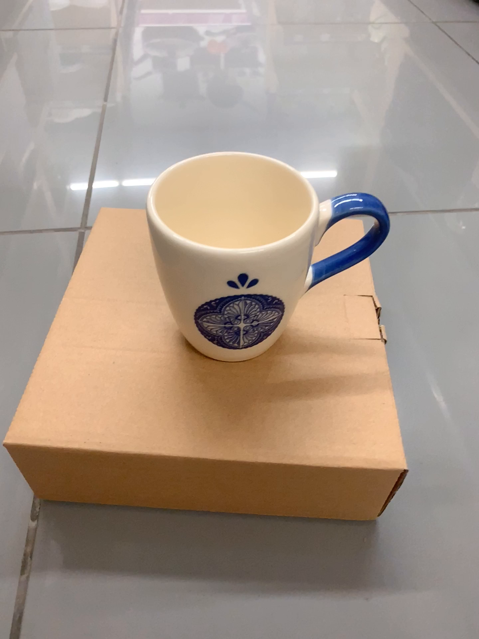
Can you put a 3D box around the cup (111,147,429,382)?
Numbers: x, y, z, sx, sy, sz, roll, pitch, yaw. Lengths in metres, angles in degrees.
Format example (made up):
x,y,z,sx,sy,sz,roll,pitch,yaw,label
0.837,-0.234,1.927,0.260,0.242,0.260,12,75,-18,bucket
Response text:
x,y,z,sx,sy,sz,roll,pitch,yaw,label
0.010,-0.032,0.280,0.140,0.090,0.090,-3,47,-4,cup
